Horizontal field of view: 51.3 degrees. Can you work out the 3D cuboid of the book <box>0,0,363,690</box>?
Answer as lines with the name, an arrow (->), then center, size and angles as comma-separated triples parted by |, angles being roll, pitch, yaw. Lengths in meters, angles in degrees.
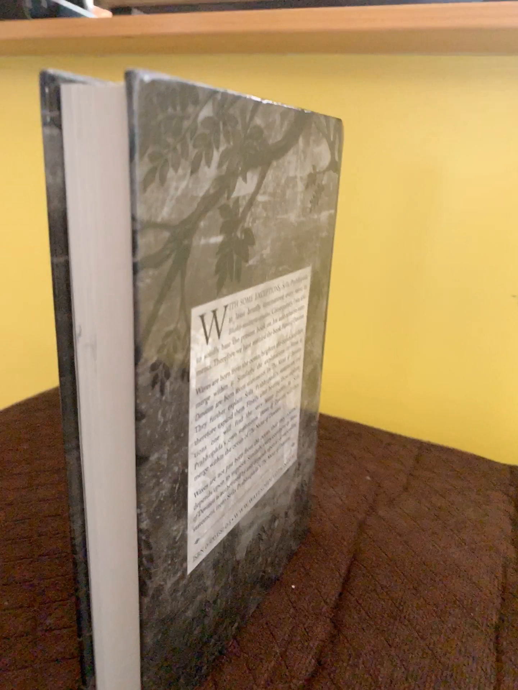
book -> -0.016, 0.017, 0.216 | 0.040, 0.229, 0.161 | 11, 19, 29
